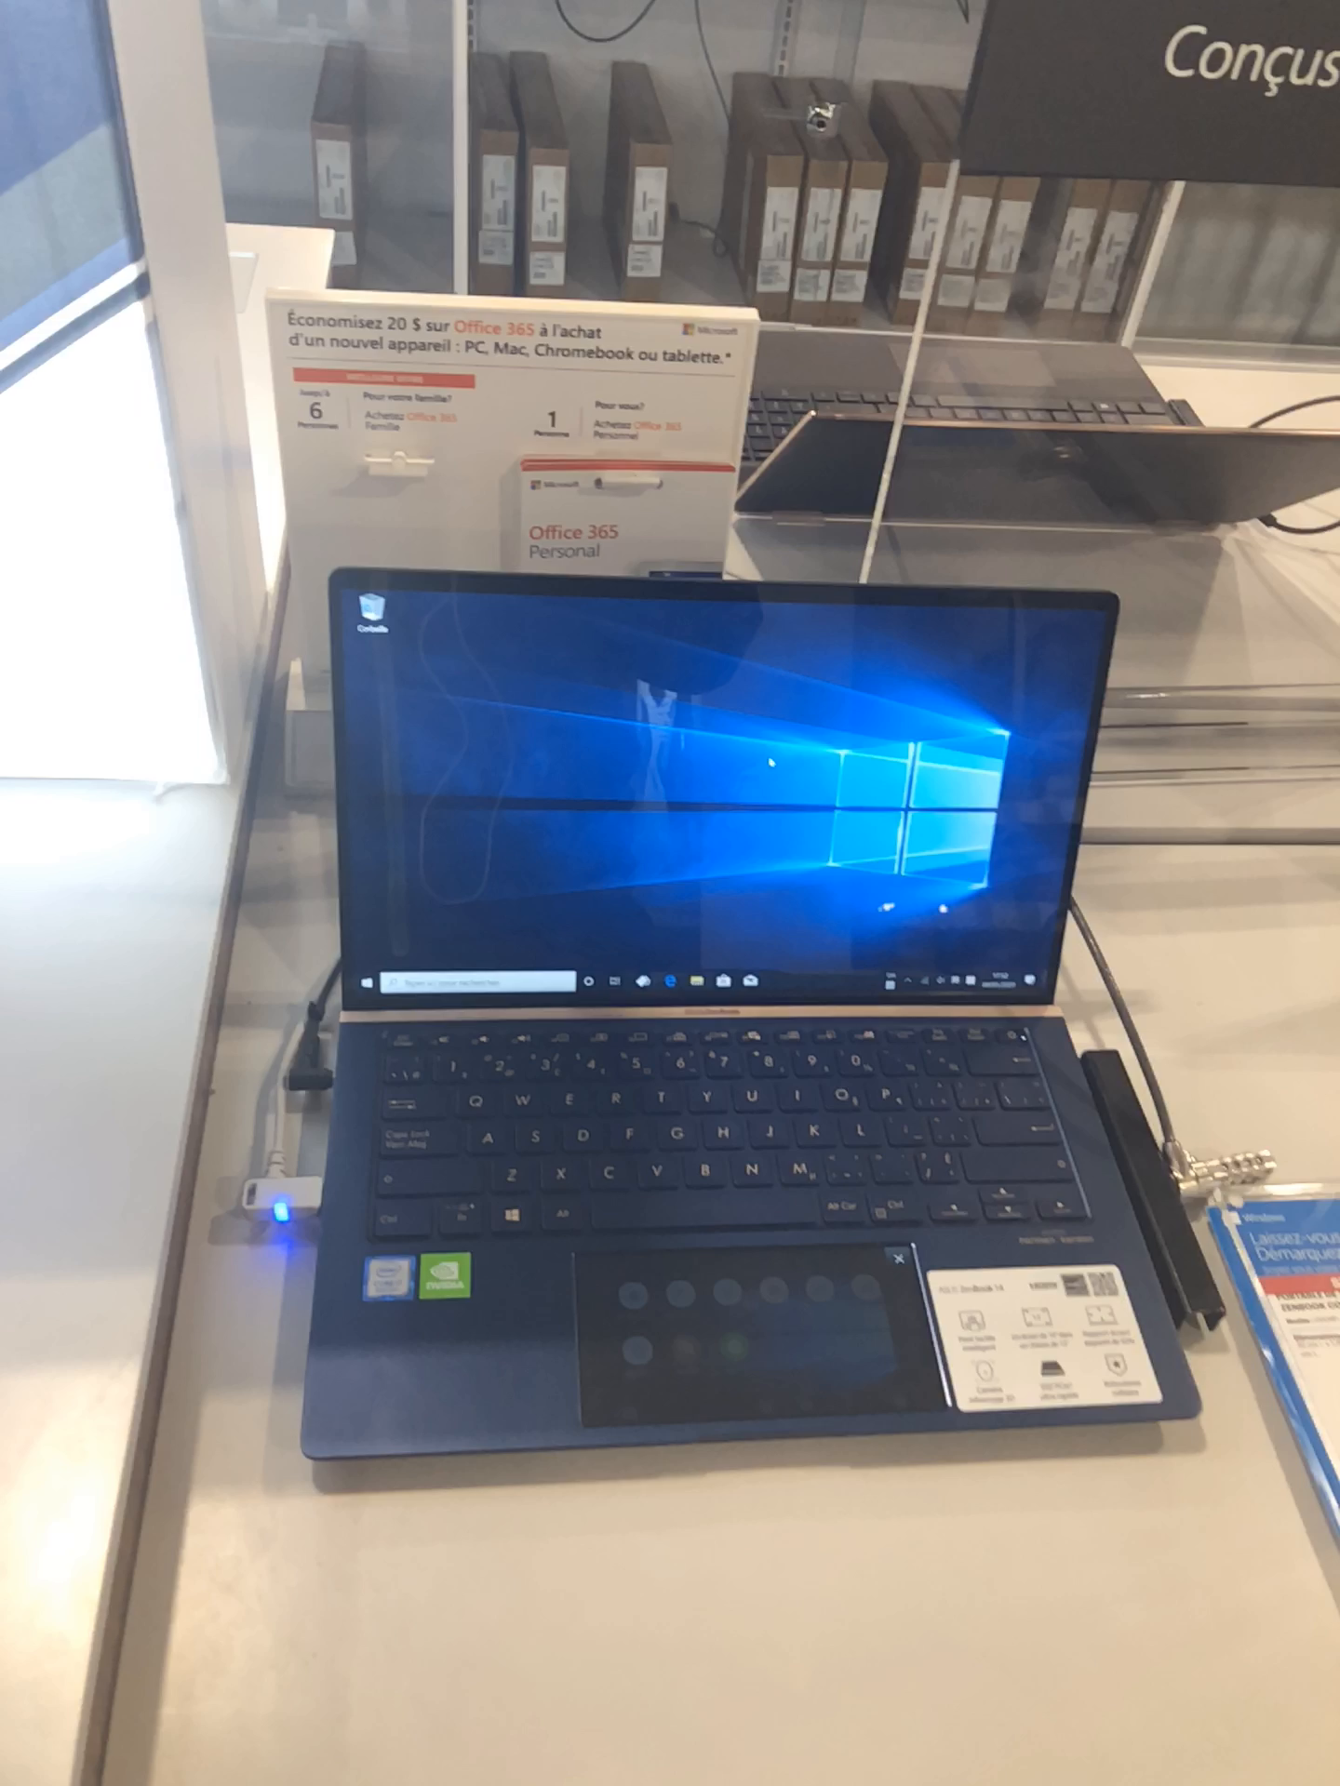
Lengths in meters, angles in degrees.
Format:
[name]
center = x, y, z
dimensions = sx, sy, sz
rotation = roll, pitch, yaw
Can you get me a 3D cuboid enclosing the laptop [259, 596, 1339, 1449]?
[laptop]
center = 0.031, 0.037, 0.539
dimensions = 0.309, 0.179, 0.254
rotation = 0, 42, -8
